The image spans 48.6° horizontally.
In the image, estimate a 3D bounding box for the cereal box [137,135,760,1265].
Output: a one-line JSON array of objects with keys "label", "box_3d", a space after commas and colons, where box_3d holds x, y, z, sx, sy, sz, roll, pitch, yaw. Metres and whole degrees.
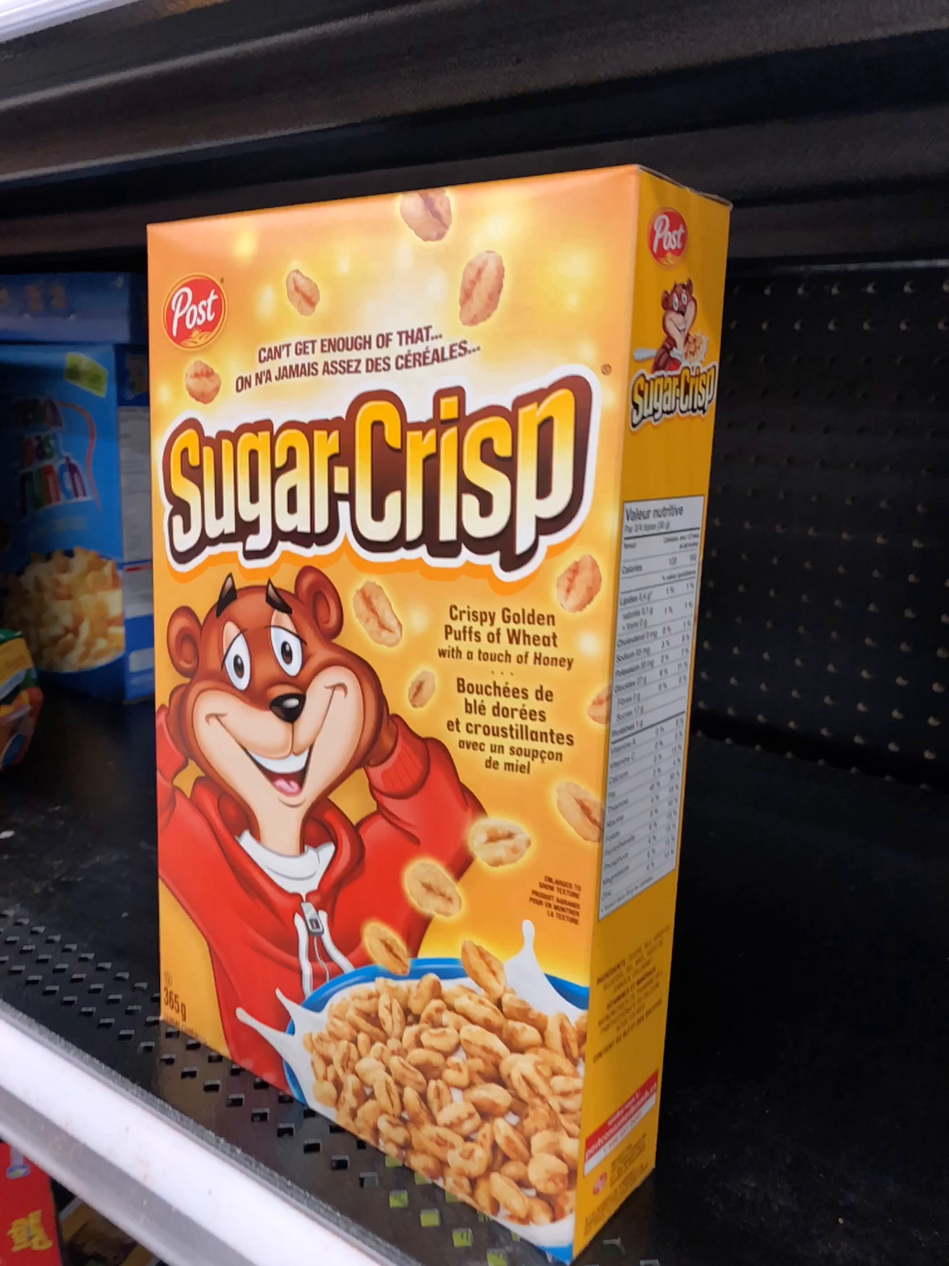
[{"label": "cereal box", "box_3d": [-0.025, 0.017, 0.355, 0.200, 0.309, 0.060, 11, 14, 37]}]
